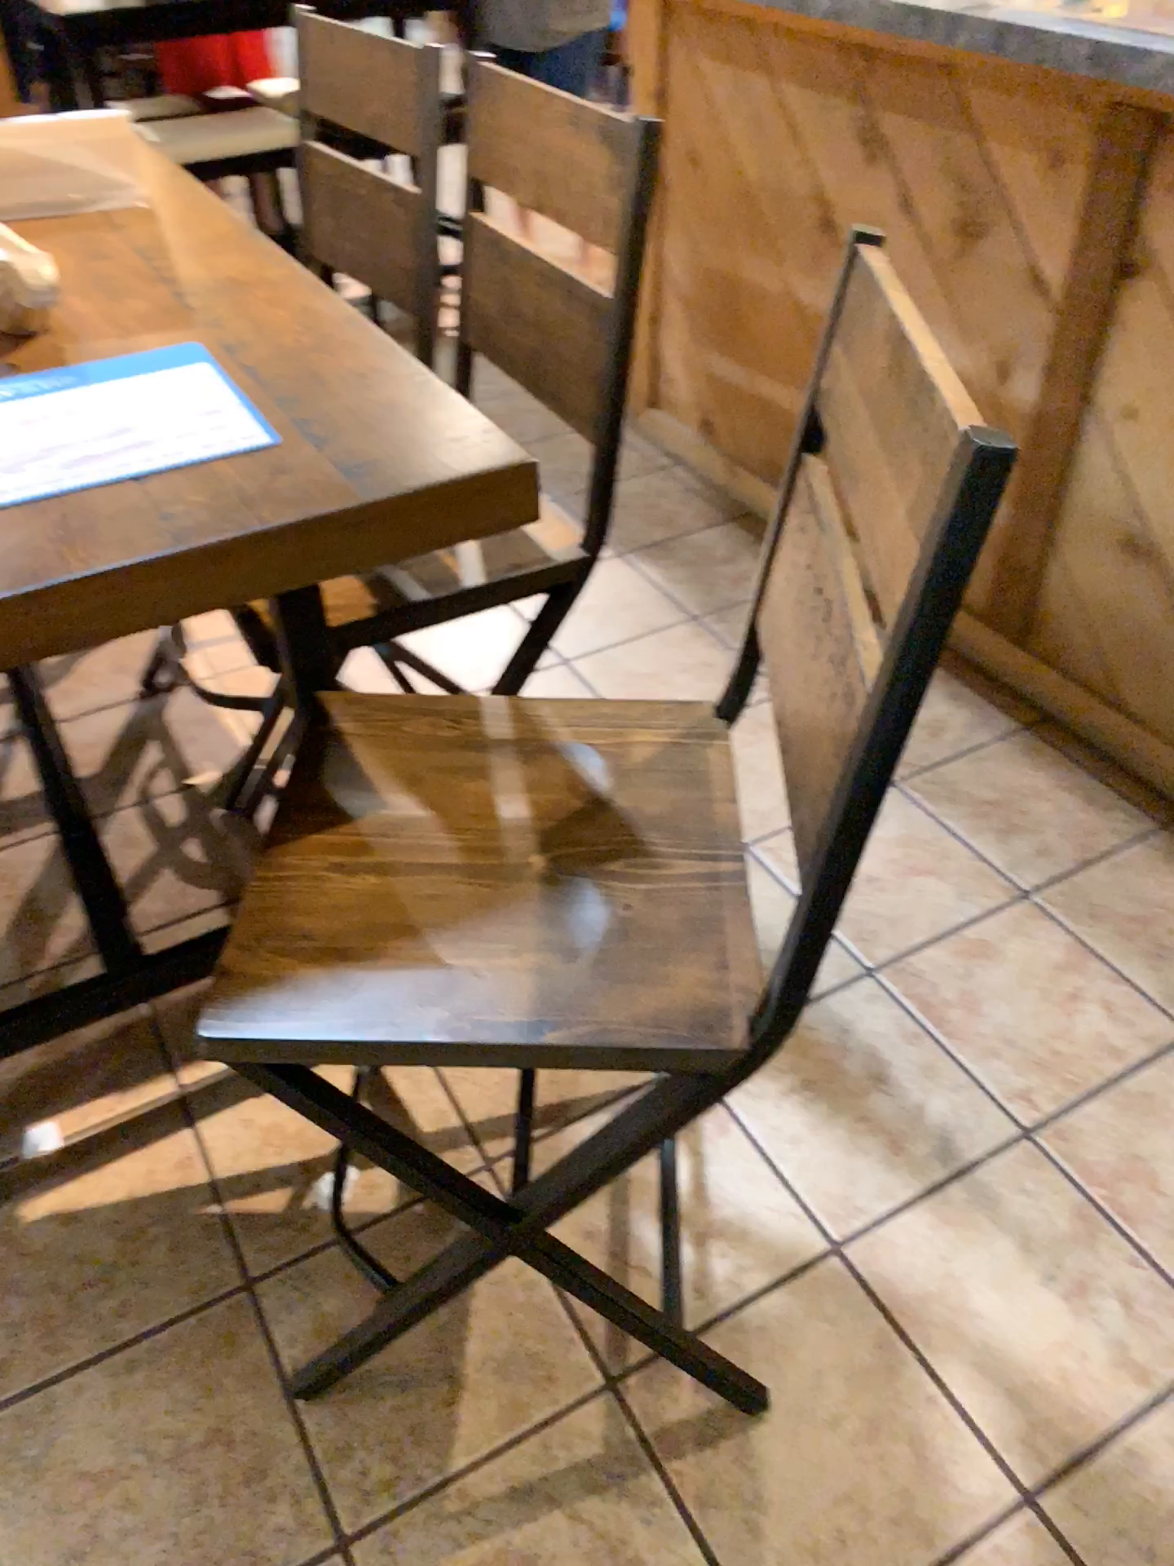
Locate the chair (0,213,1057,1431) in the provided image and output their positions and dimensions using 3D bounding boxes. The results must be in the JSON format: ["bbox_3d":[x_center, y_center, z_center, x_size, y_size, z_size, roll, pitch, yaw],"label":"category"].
[{"bbox_3d":[-0.042,0.100,1.058,0.615,0.983,0.444,-1,38,5],"label":"chair"}]

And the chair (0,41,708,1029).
[{"bbox_3d":[-0.248,-0.296,1.550,0.616,1.003,0.494,-22,44,-20],"label":"chair"}]
